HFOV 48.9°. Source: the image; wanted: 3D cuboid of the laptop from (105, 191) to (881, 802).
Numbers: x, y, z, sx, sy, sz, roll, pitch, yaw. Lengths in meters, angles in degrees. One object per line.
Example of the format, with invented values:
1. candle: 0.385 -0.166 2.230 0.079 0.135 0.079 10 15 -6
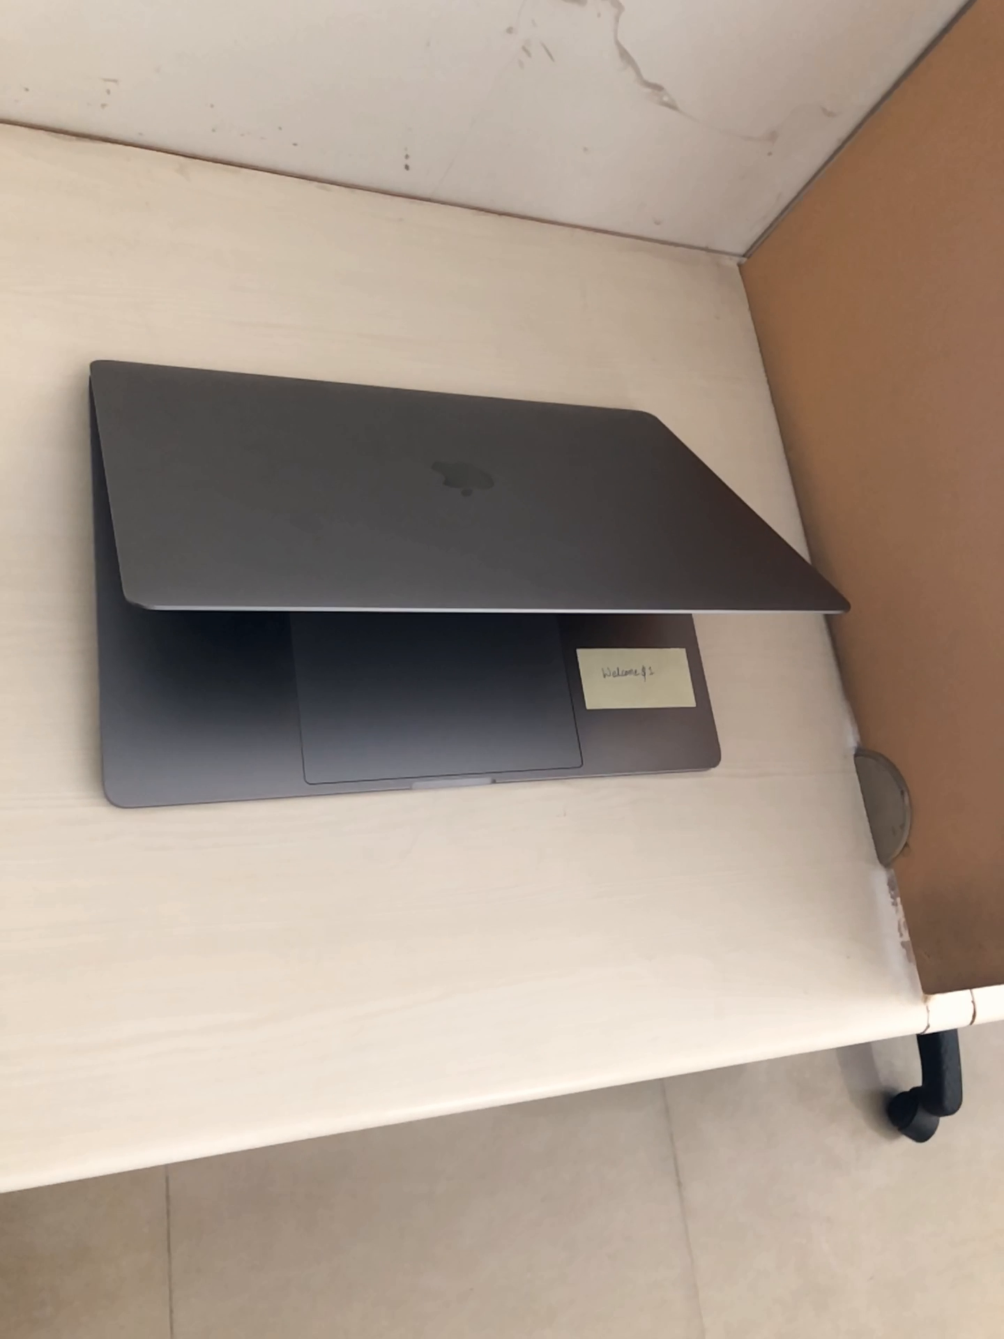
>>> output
1. laptop: -0.015 -0.072 0.549 0.330 0.134 0.233 0 69 -24
